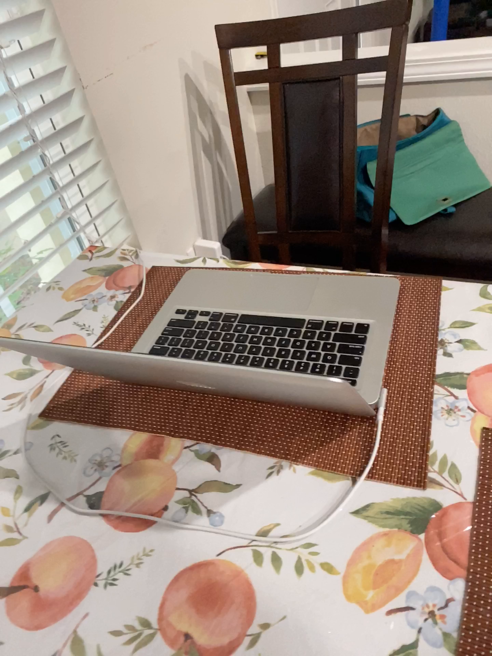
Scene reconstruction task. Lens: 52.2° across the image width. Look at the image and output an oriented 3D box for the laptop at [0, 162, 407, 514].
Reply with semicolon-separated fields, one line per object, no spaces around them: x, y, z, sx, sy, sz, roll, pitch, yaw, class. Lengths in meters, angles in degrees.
-0.007;-0.028;0.559;0.317;0.162;0.349;5;43;21;laptop
